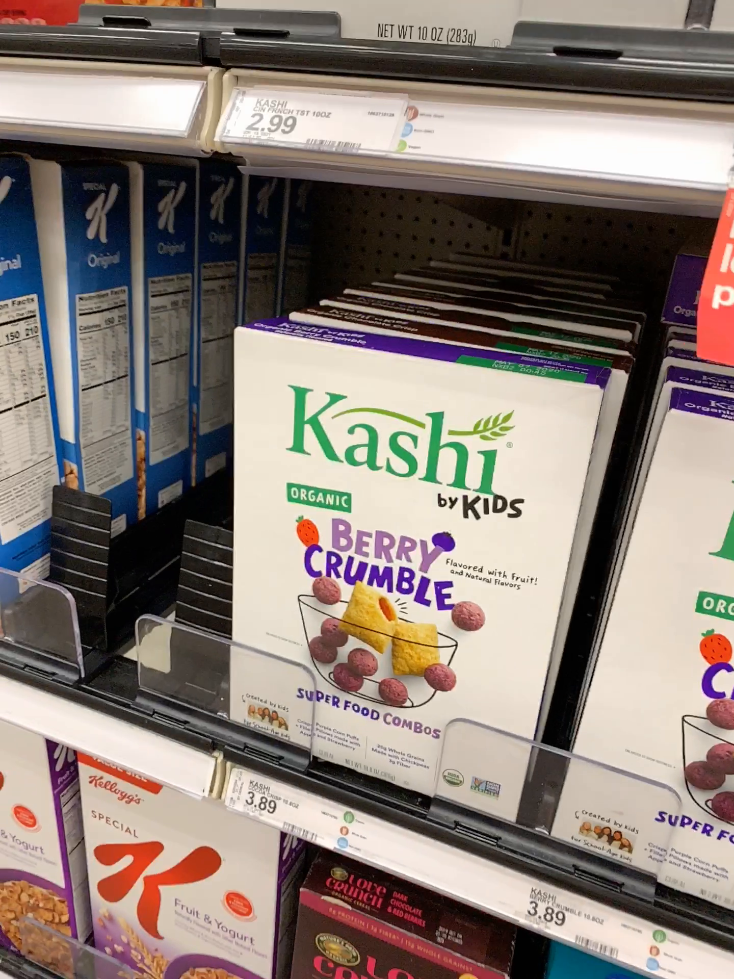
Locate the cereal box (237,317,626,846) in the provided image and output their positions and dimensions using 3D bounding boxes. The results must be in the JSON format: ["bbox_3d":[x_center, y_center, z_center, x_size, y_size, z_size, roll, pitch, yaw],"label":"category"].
[{"bbox_3d":[0.022,0.057,0.444,0.190,0.279,0.050,13,25,16],"label":"cereal box"}]
